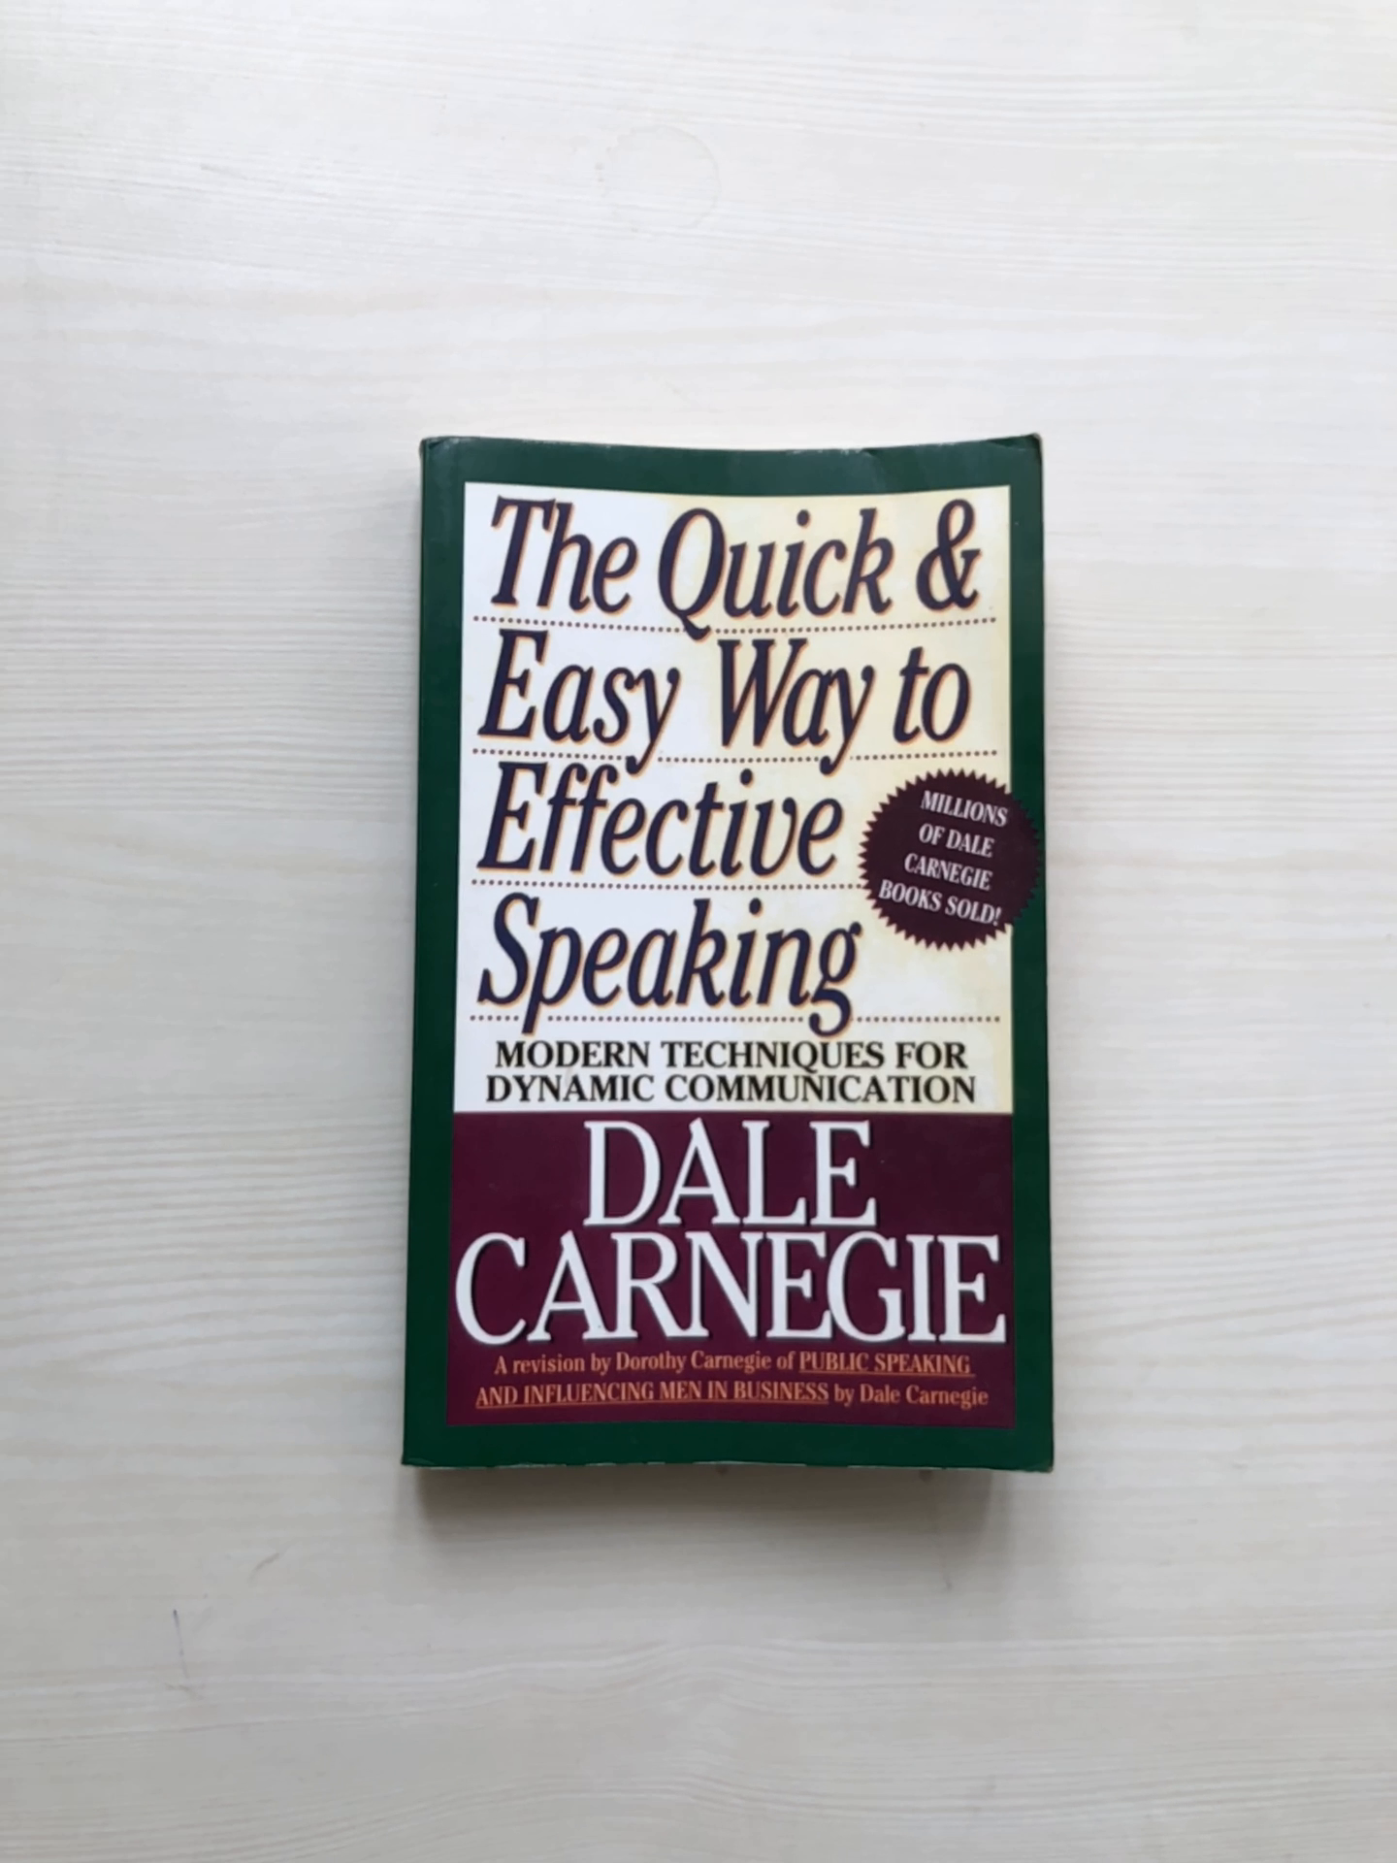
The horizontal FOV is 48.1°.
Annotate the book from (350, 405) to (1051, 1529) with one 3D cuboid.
[{"bbox_3d":[0.002,0.005,0.273,0.110,0.040,0.180,1,86,0],"label":"book"}]
